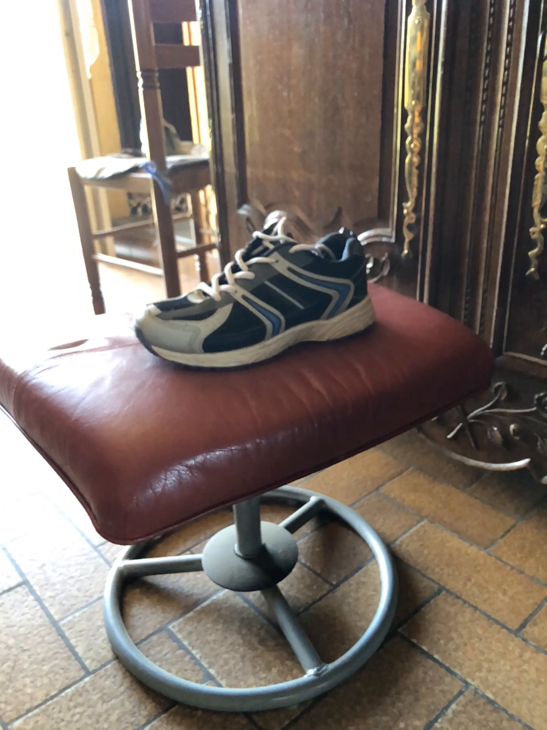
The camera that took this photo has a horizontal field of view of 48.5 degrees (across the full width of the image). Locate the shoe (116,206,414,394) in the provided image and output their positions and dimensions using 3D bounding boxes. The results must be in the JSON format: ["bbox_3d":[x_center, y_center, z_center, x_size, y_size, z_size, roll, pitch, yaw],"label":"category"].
[{"bbox_3d":[-0.006,-0.074,0.599,0.261,0.119,0.110,-12,25,-19],"label":"shoe"}]
